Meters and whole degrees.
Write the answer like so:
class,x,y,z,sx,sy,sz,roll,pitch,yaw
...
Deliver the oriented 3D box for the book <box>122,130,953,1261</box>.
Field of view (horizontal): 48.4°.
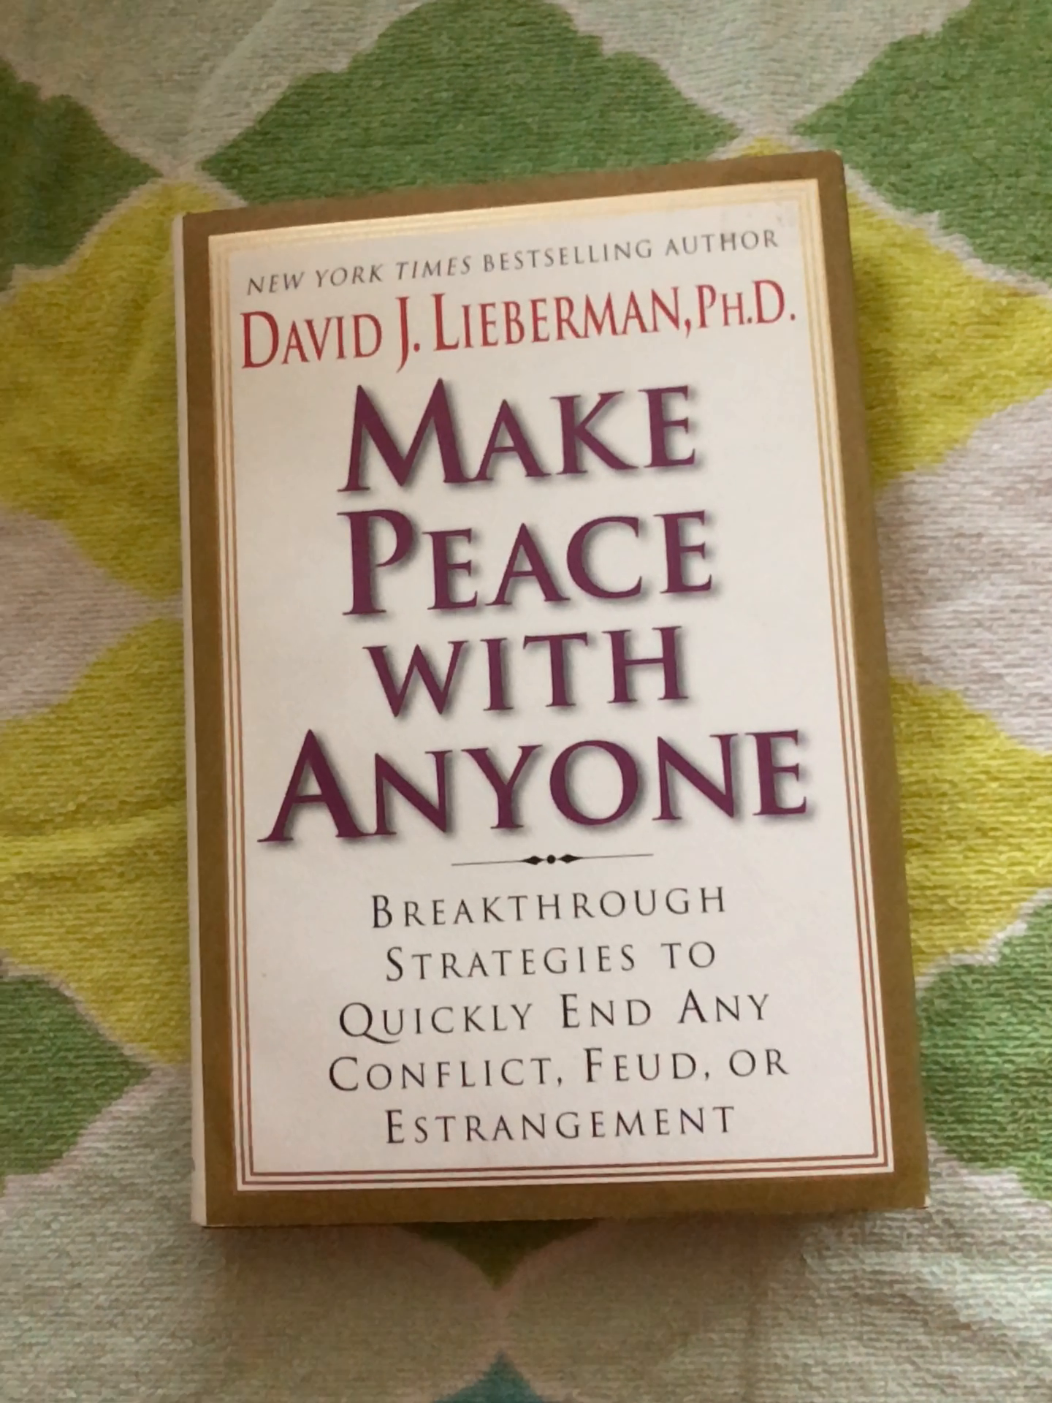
class,x,y,z,sx,sy,sz,roll,pitch,yaw
book,-0.004,-0.003,0.234,0.145,0.030,0.204,-4,82,5
